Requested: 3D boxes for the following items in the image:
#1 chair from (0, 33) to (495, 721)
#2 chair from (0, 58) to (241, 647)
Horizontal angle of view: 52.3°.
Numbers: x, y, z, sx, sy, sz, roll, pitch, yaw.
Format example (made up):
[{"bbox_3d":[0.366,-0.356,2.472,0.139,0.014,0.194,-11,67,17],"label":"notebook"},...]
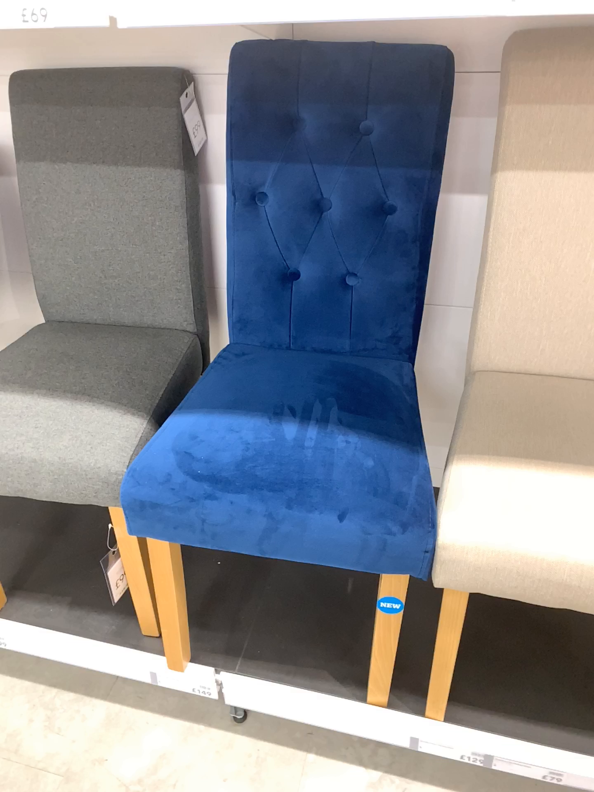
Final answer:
[{"bbox_3d":[0.001,-0.025,0.979,0.433,0.929,0.524,7,35,11],"label":"chair"},{"bbox_3d":[-0.407,-0.102,1.146,0.413,0.889,0.625,4,34,8],"label":"chair"}]
